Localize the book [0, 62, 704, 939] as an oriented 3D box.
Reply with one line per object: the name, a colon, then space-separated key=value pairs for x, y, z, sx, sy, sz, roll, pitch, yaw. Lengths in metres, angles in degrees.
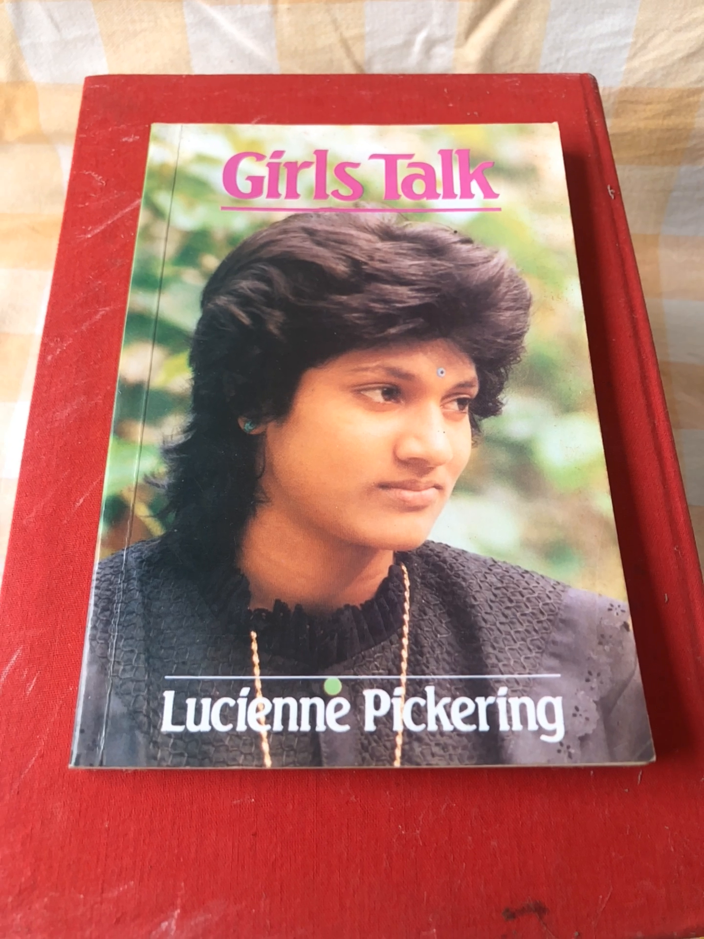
book: x=0.001 y=-0.012 z=0.221 sx=0.174 sy=0.031 sz=0.249 roll=-1 pitch=66 yaw=-1

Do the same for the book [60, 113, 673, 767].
book: x=0.002 y=-0.018 z=0.214 sx=0.130 sy=0.025 sz=0.182 roll=-1 pitch=67 yaw=-1
